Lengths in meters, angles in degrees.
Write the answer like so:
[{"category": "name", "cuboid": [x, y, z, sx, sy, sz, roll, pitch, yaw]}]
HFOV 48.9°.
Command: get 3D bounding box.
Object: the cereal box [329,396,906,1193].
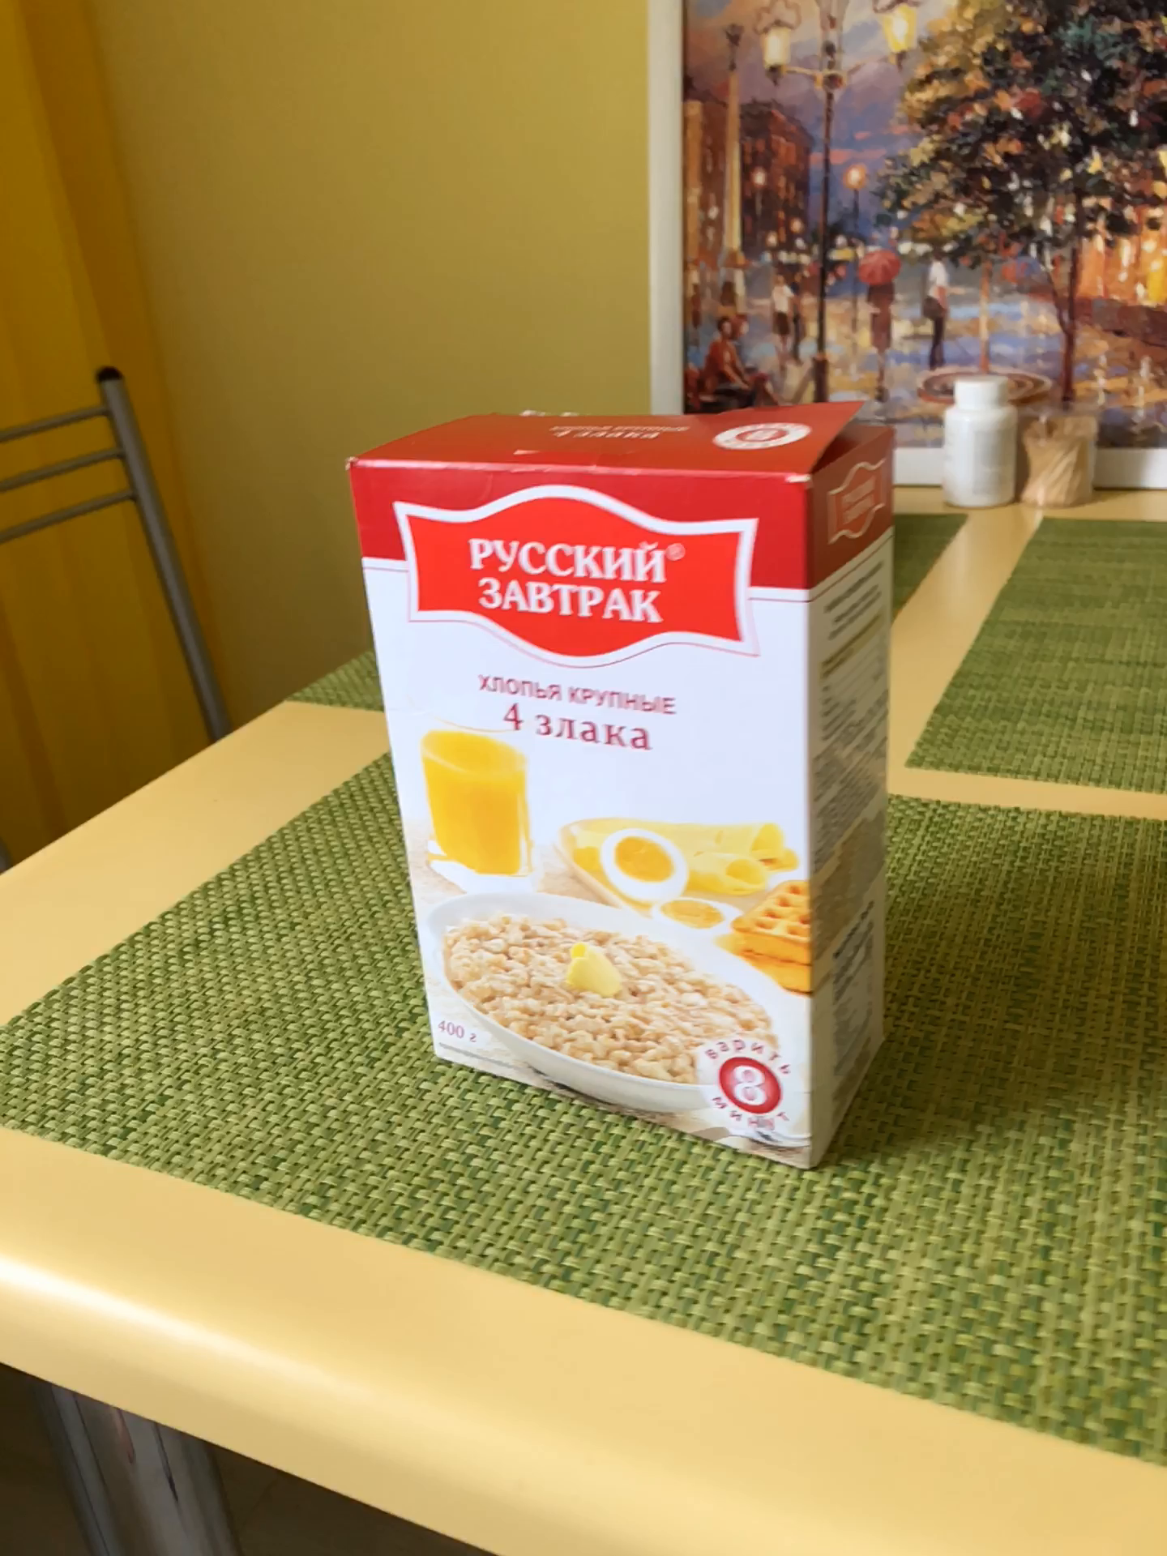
[{"category": "cereal box", "cuboid": [0.015, -0.001, 0.368, 0.130, 0.199, 0.070, 9, 28, 28]}]
